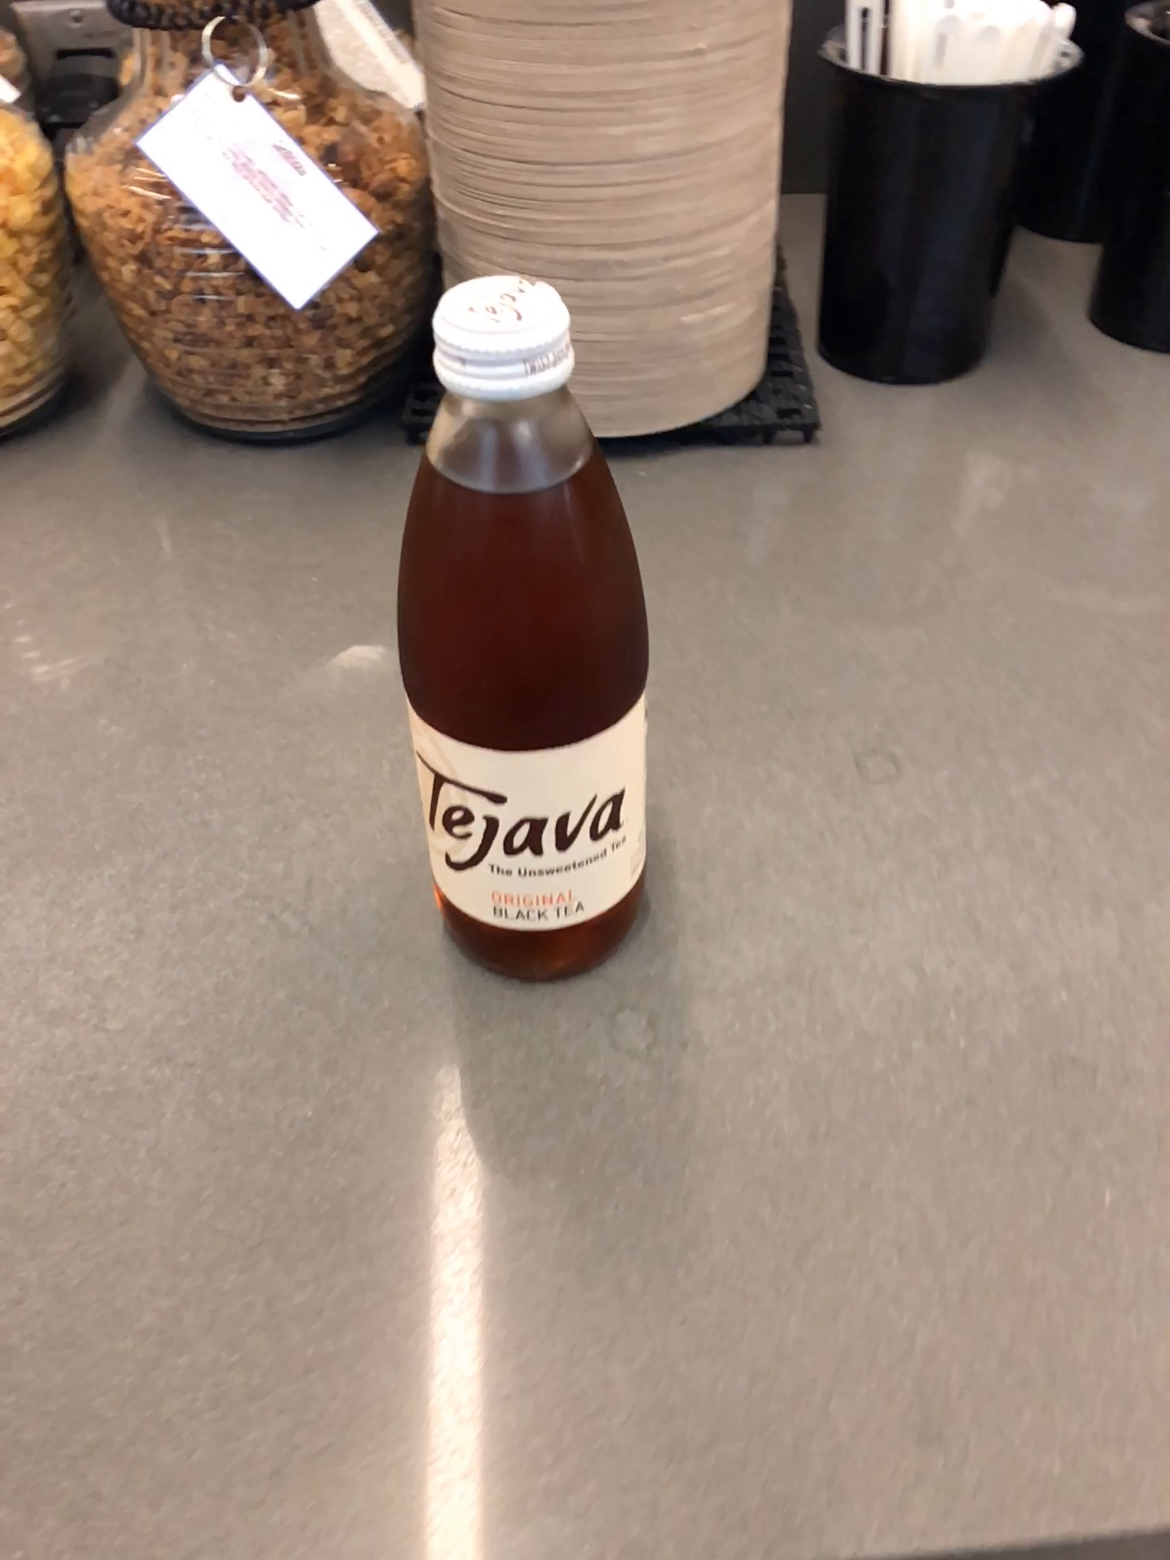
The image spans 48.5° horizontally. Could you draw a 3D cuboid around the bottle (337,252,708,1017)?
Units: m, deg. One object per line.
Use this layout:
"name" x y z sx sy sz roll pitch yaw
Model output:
"bottle" -0.013 -0.026 0.336 0.070 0.189 0.070 0 43 0
